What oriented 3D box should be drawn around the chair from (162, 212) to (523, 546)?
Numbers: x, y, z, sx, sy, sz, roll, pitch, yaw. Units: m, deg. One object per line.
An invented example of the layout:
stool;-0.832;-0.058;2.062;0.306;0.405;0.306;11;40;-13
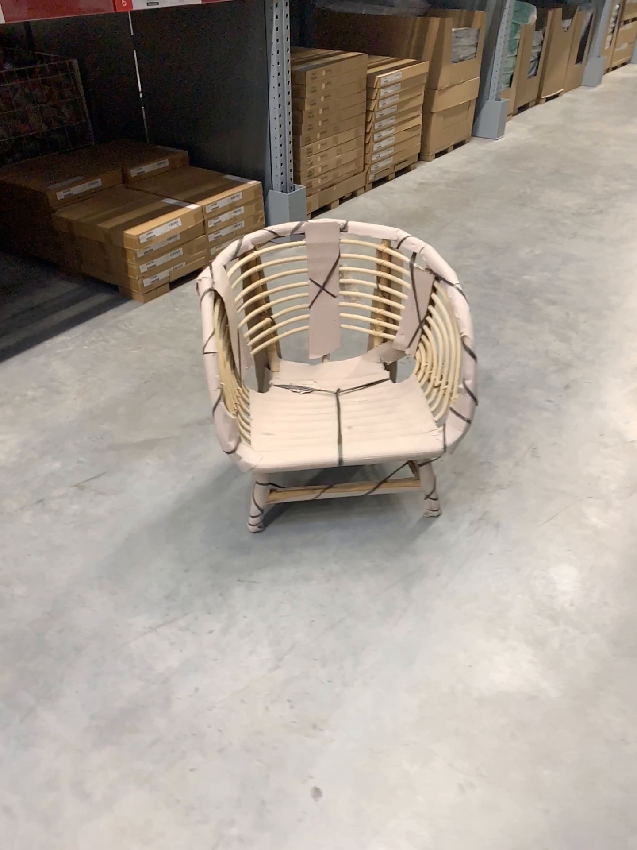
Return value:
chair;0.021;-0.172;1.808;0.750;0.567;0.764;-4;37;-4
